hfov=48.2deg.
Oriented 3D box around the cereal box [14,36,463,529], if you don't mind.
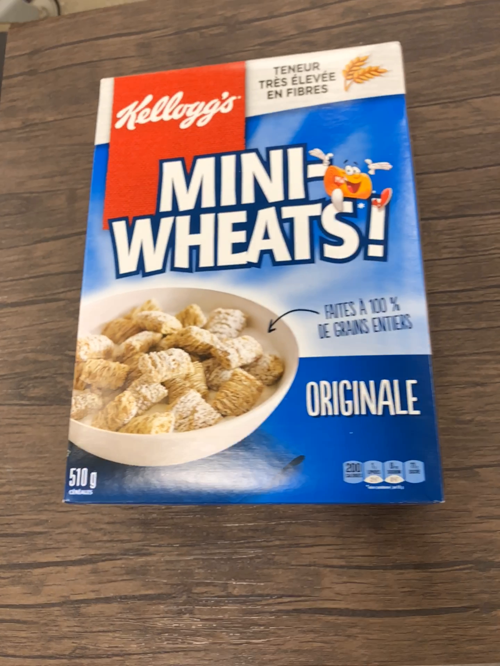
[{"bbox_3d":[-0.008,-0.029,0.327,0.210,0.060,0.270,-3,72,9],"label":"cereal box"}]
